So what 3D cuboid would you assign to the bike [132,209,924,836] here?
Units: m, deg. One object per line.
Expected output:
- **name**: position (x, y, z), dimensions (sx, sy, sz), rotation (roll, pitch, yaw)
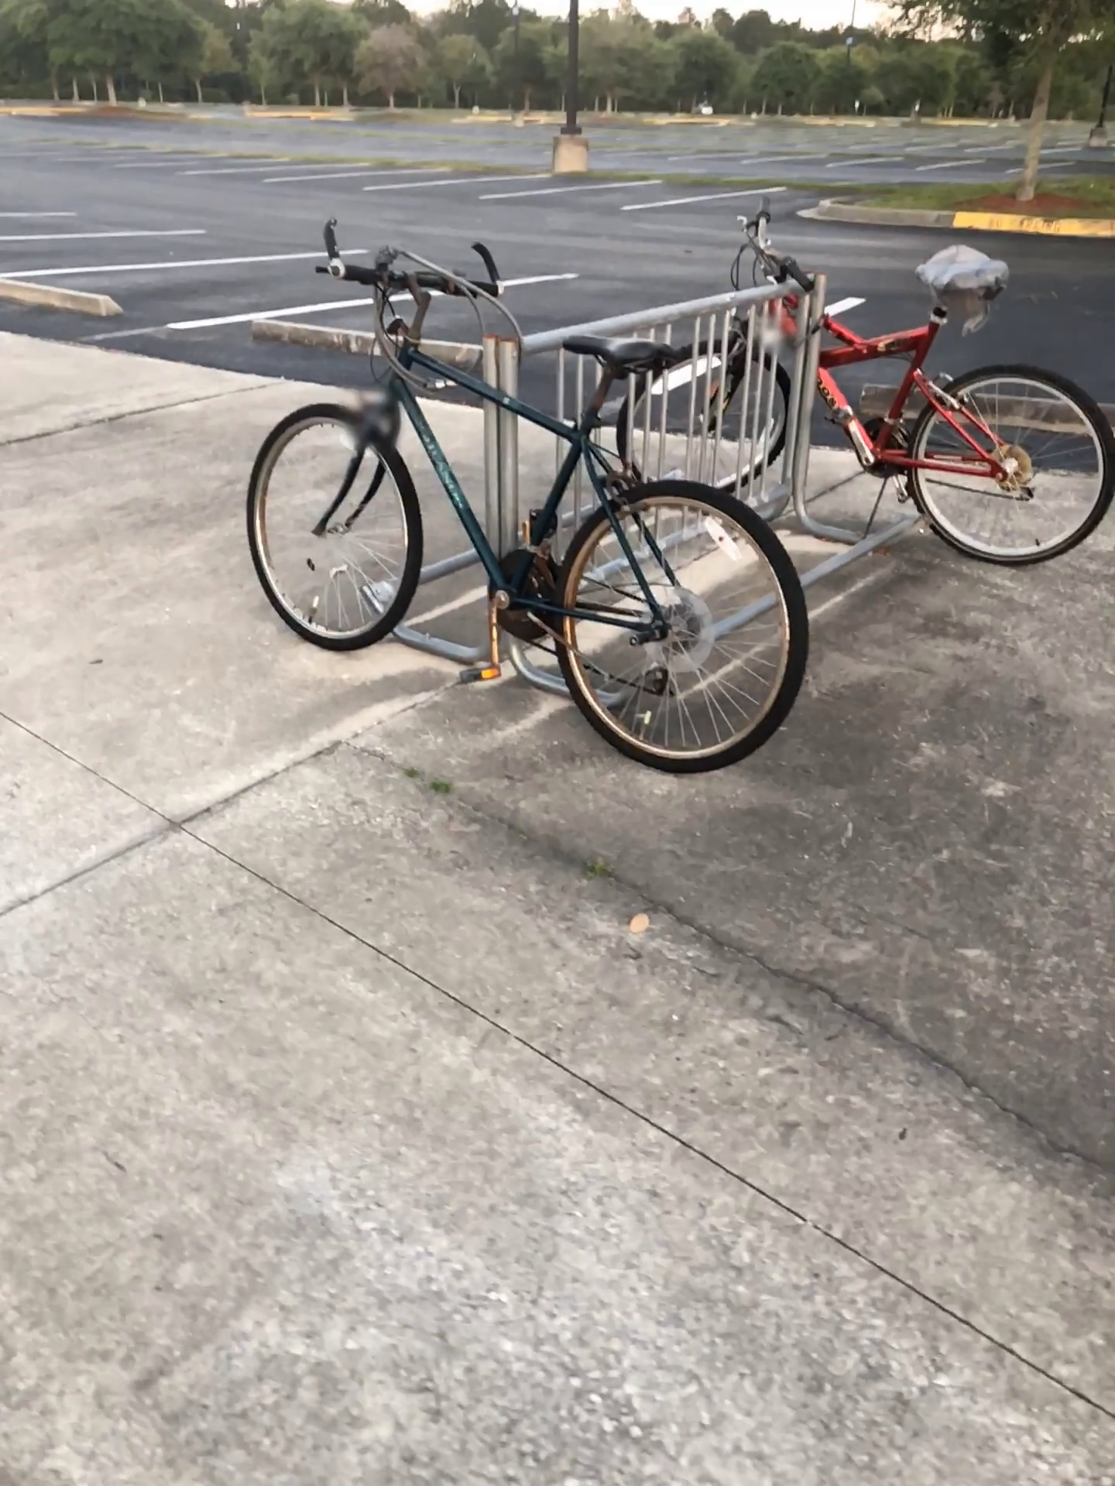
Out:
- **bike**: position (-0.162, -0.646, 2.959), dimensions (1.754, 1.103, 0.586), rotation (20, 32, 33)
